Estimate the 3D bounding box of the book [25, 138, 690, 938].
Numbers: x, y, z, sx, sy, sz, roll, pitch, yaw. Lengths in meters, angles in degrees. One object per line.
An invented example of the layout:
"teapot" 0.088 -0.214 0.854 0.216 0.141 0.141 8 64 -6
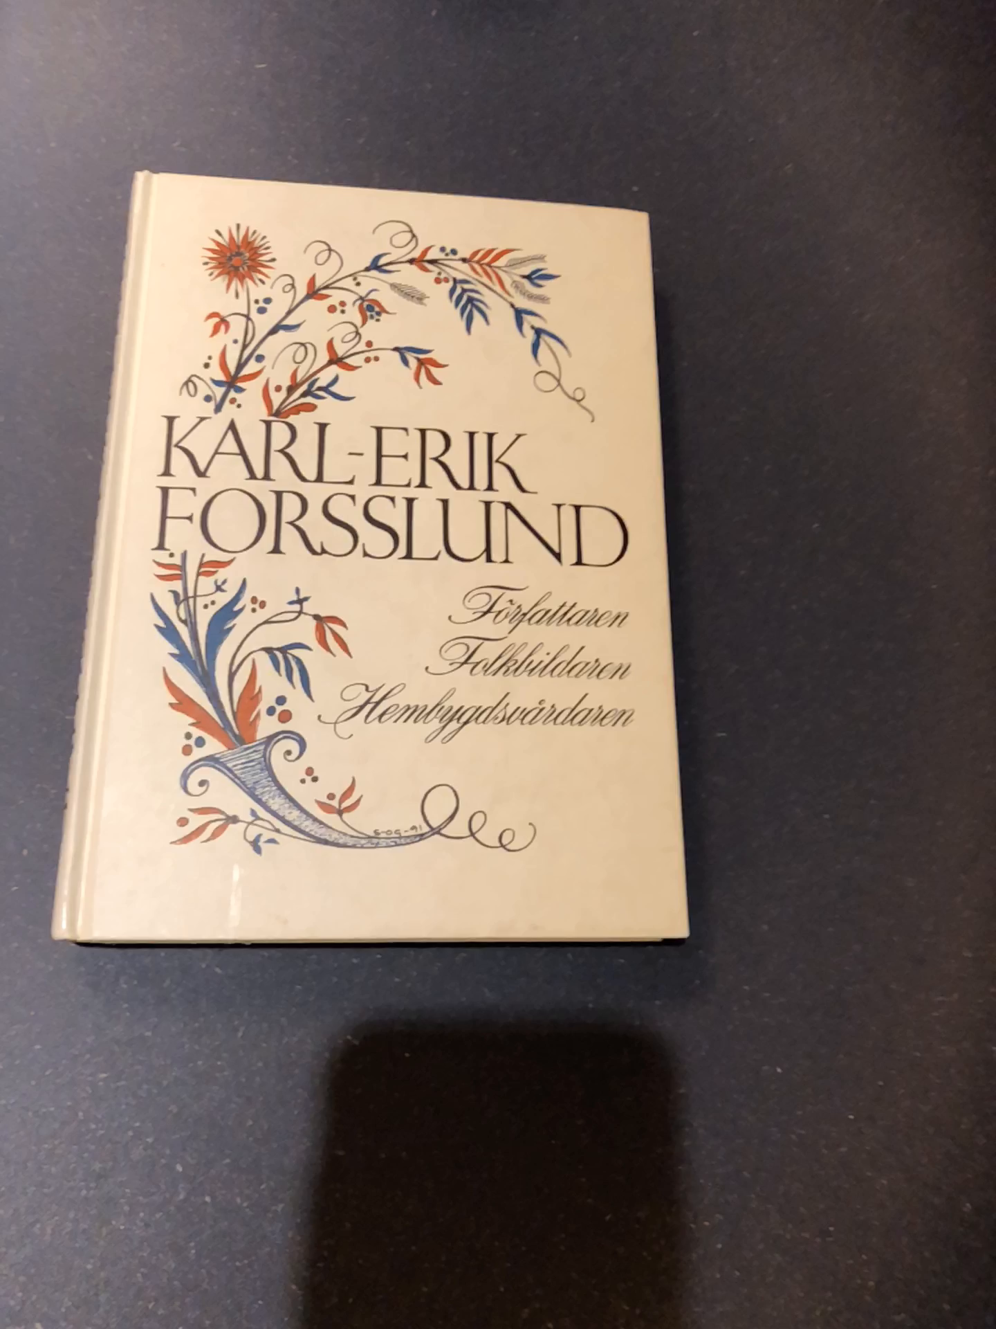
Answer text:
"book" -0.034 -0.041 0.323 0.164 0.028 0.232 2 73 -6
